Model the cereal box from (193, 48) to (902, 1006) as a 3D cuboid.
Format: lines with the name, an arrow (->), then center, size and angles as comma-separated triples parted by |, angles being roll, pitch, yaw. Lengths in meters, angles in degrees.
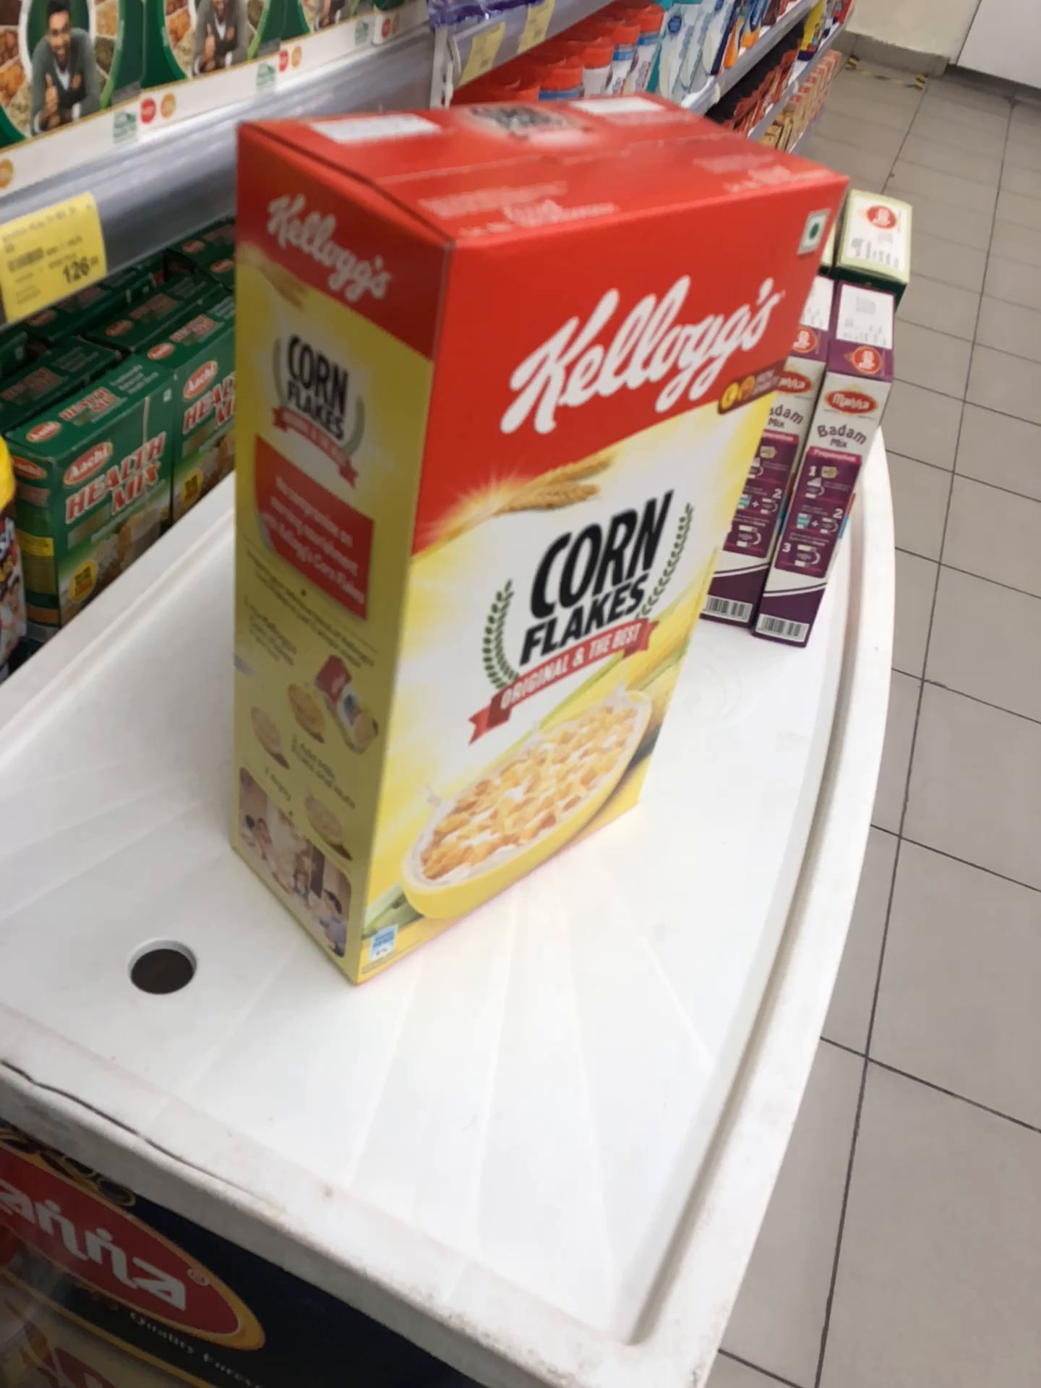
cereal box -> -0.010, -0.057, 0.456 | 0.200, 0.329, 0.110 | -27, 55, -36
